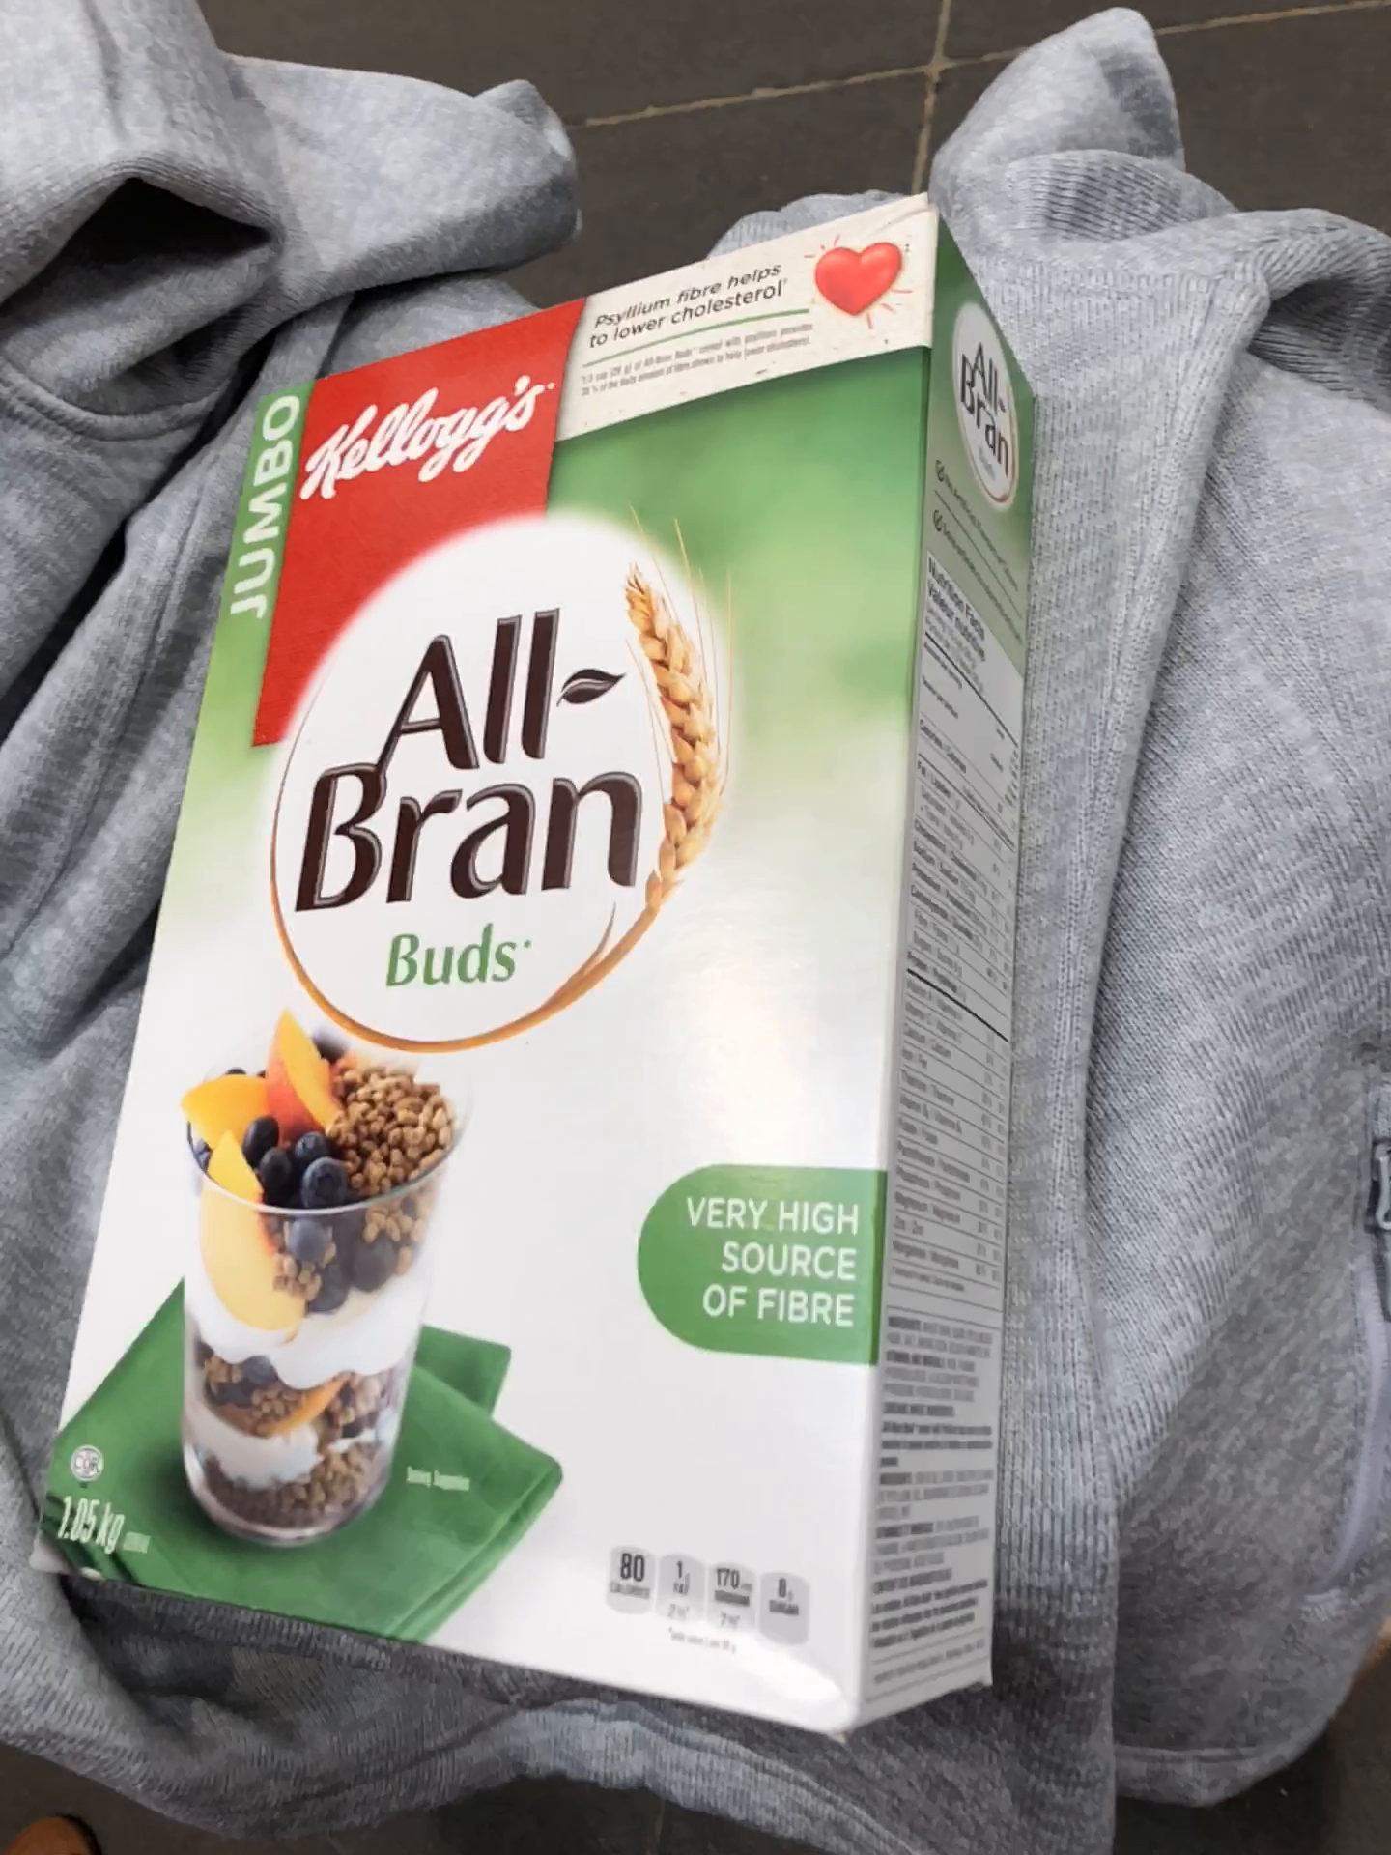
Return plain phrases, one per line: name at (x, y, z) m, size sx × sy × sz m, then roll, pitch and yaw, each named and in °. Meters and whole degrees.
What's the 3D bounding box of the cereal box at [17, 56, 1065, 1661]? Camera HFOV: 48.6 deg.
cereal box at (-0.026, -0.016, 0.347) m, size 0.200 × 0.070 × 0.300 m, roll -7°, pitch 68°, yaw 30°
